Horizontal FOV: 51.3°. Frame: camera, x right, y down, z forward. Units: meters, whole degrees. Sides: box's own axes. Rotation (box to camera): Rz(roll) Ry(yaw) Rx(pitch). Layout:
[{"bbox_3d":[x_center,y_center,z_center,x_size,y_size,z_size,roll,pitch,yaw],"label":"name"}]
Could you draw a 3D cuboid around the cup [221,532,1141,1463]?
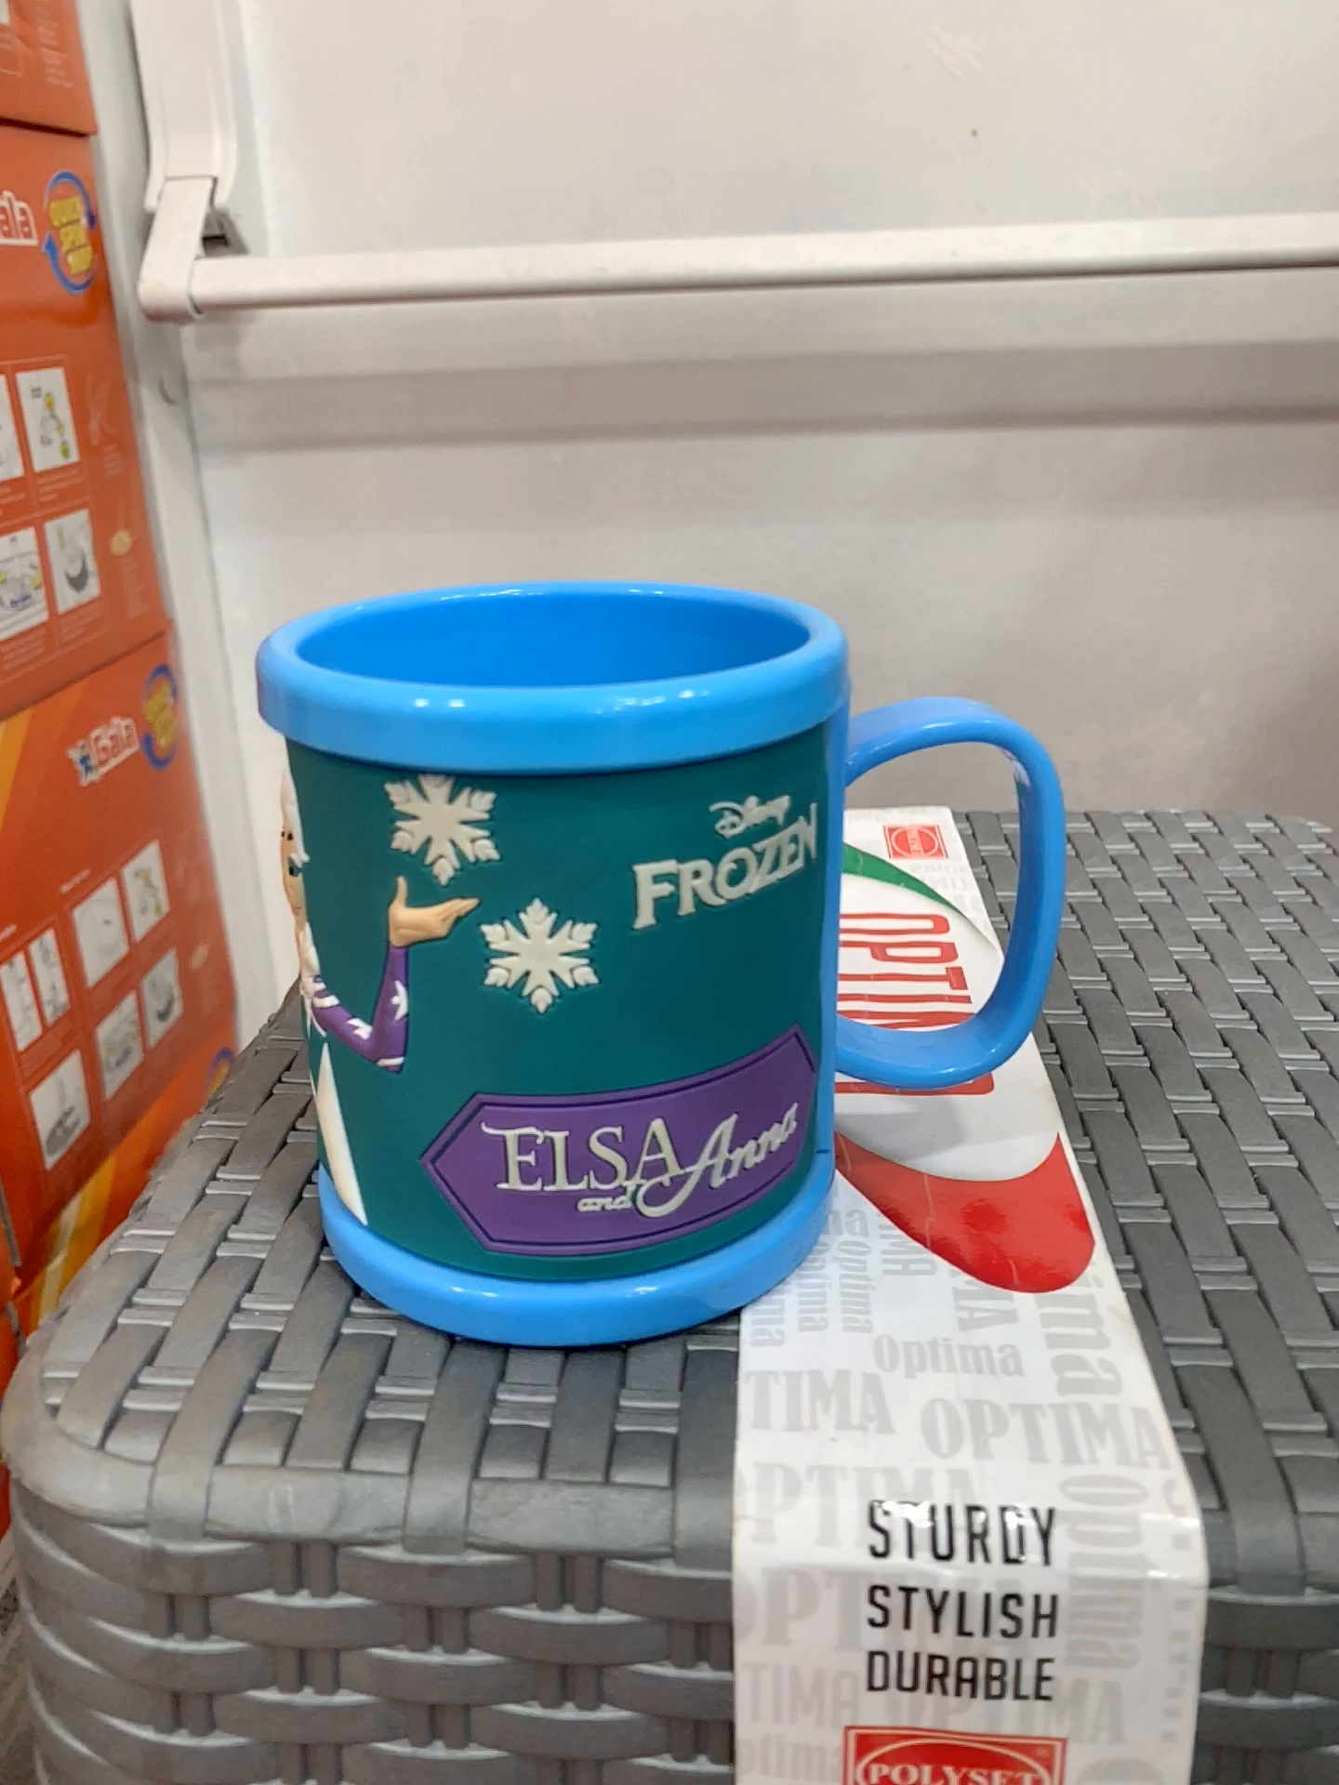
[{"bbox_3d":[-0.004,0.005,0.207,0.106,0.099,0.078,-8,22,-15],"label":"cup"}]
